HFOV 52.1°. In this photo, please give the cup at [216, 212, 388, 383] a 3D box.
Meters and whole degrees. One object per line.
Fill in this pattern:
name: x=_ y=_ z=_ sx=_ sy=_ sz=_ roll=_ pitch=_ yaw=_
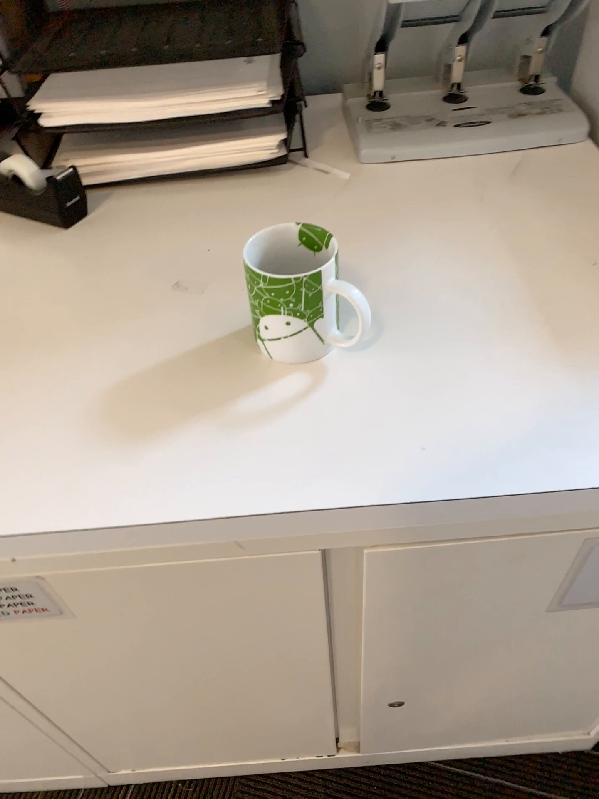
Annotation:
cup: x=0.006 y=-0.085 z=0.504 sx=0.110 sy=0.090 sz=0.080 roll=15 pitch=50 yaw=19
